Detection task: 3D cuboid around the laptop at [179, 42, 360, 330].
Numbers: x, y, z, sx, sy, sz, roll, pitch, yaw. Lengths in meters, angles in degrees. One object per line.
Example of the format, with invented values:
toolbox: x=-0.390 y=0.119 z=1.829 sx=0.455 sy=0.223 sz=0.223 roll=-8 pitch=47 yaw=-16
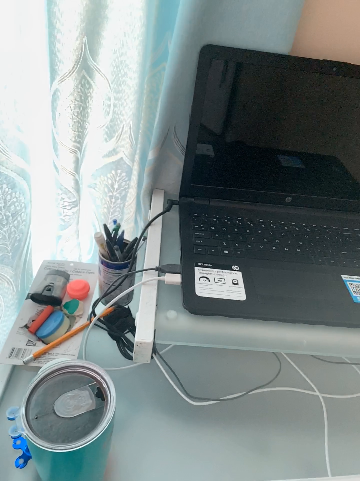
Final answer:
laptop: x=0.195 y=-0.073 z=0.469 sx=0.358 sy=0.225 sz=0.247 roll=5 pitch=38 yaw=-6
